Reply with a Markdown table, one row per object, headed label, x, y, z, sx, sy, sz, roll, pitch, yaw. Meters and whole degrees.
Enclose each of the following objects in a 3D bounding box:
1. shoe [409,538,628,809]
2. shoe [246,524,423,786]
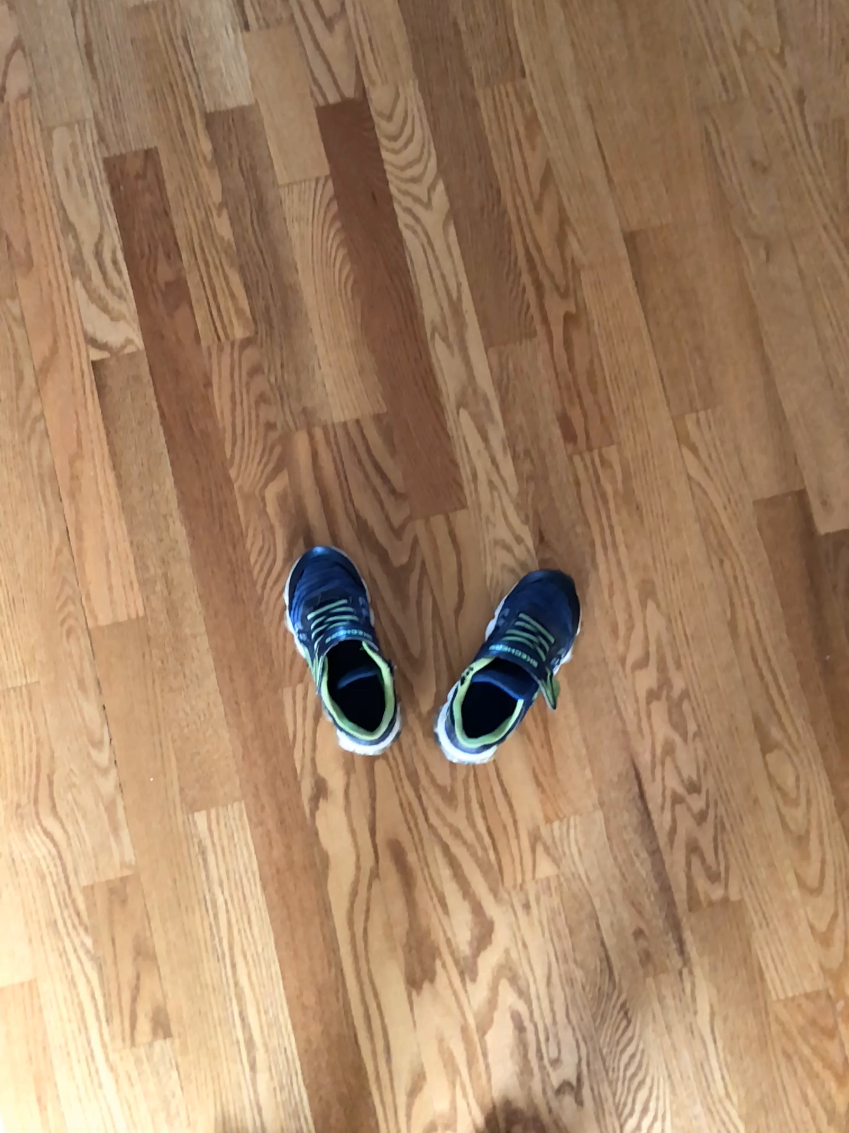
| label | x | y | z | sx | sy | sz | roll | pitch | yaw |
| --- | --- | --- | --- | --- | --- | --- | --- | --- | --- |
| shoe | 0.081 | 0.094 | 0.838 | 0.093 | 0.087 | 0.212 | 31 | 84 | 1 |
| shoe | -0.079 | 0.078 | 0.838 | 0.093 | 0.095 | 0.203 | -18 | 85 | -4 |
